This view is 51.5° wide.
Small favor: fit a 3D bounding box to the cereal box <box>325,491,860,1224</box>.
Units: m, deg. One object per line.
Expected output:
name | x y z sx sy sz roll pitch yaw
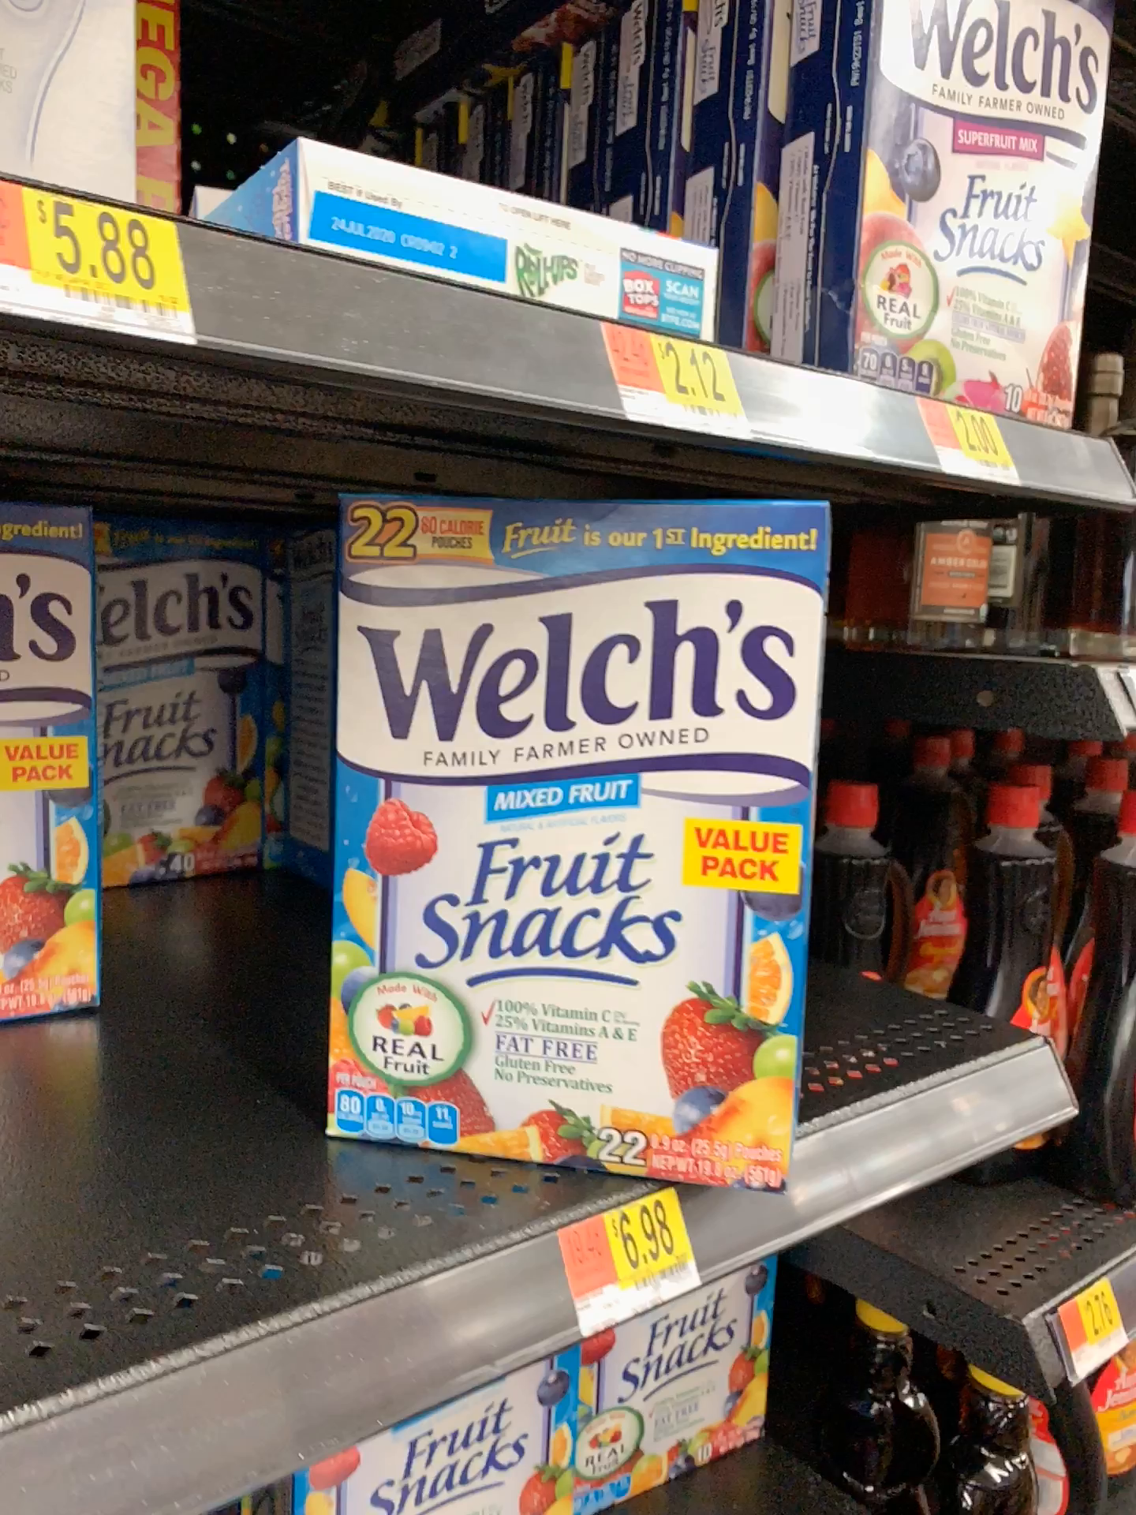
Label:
cereal box | 0.007 0.027 0.410 0.170 0.230 0.060 3 6 12
